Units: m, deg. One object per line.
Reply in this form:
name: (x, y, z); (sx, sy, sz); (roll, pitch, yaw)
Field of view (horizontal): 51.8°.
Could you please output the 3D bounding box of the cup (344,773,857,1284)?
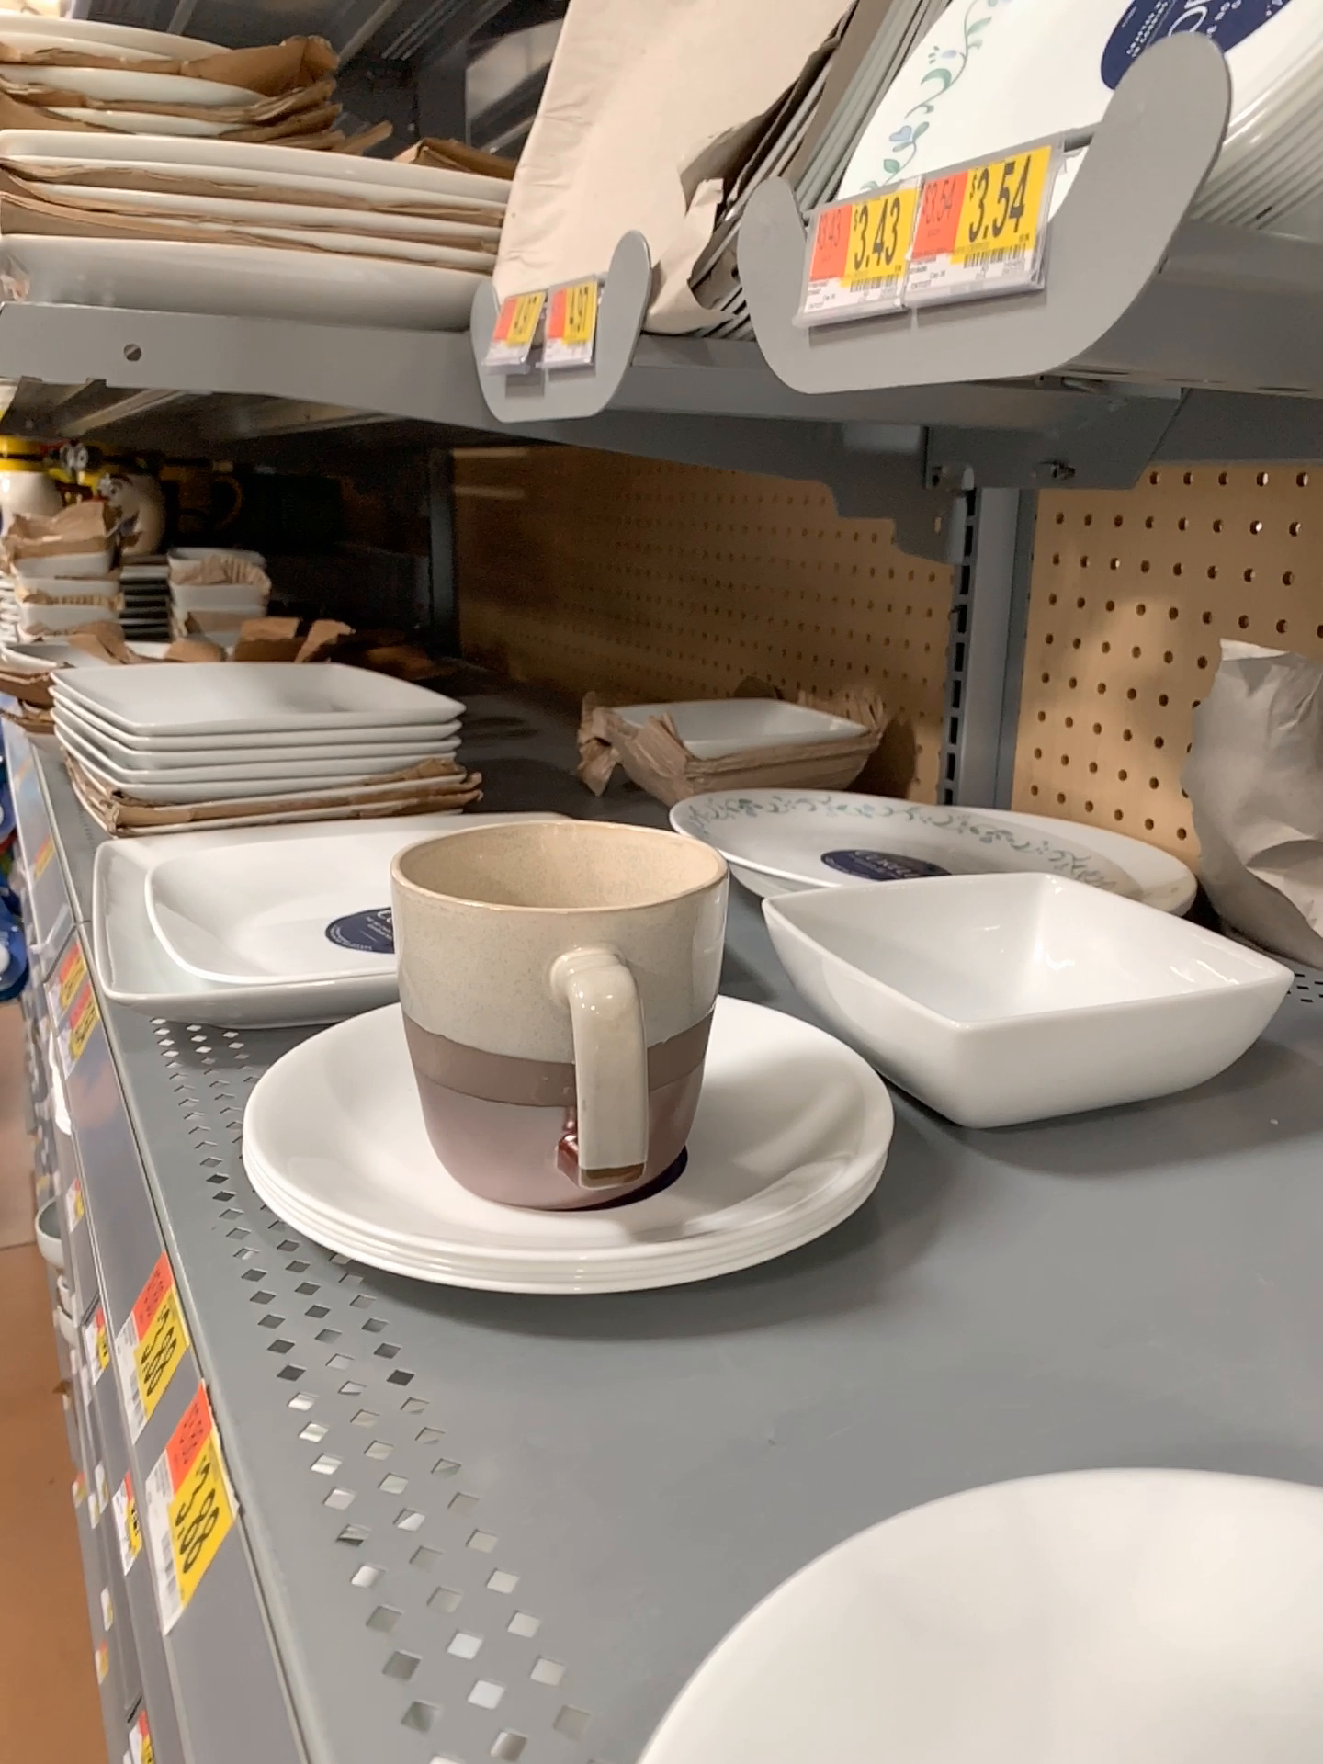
cup: (-0.026, 0.031, 0.409); (0.107, 0.096, 0.138); (-6, 17, -23)
